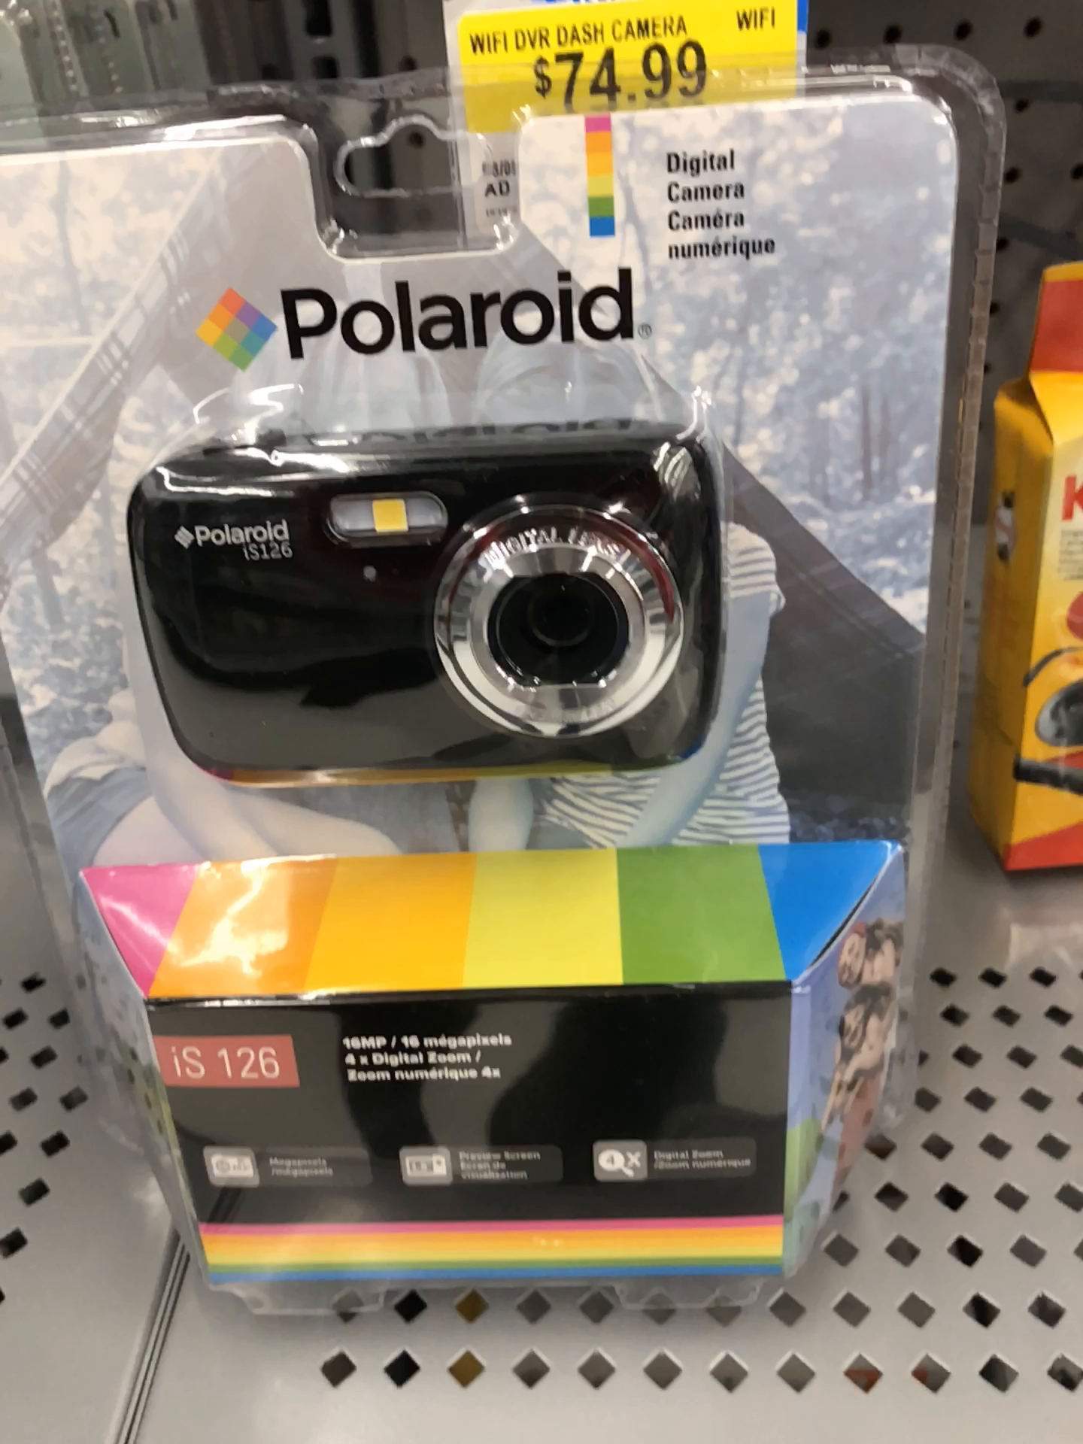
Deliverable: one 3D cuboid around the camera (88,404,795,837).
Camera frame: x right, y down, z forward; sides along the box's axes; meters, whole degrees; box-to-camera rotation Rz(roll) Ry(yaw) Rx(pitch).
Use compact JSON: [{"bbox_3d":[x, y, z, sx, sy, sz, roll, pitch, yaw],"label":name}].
[{"bbox_3d":[-0.013,-0.015,0.201,0.100,0.060,0.030,-2,35,3],"label":"camera"}]
